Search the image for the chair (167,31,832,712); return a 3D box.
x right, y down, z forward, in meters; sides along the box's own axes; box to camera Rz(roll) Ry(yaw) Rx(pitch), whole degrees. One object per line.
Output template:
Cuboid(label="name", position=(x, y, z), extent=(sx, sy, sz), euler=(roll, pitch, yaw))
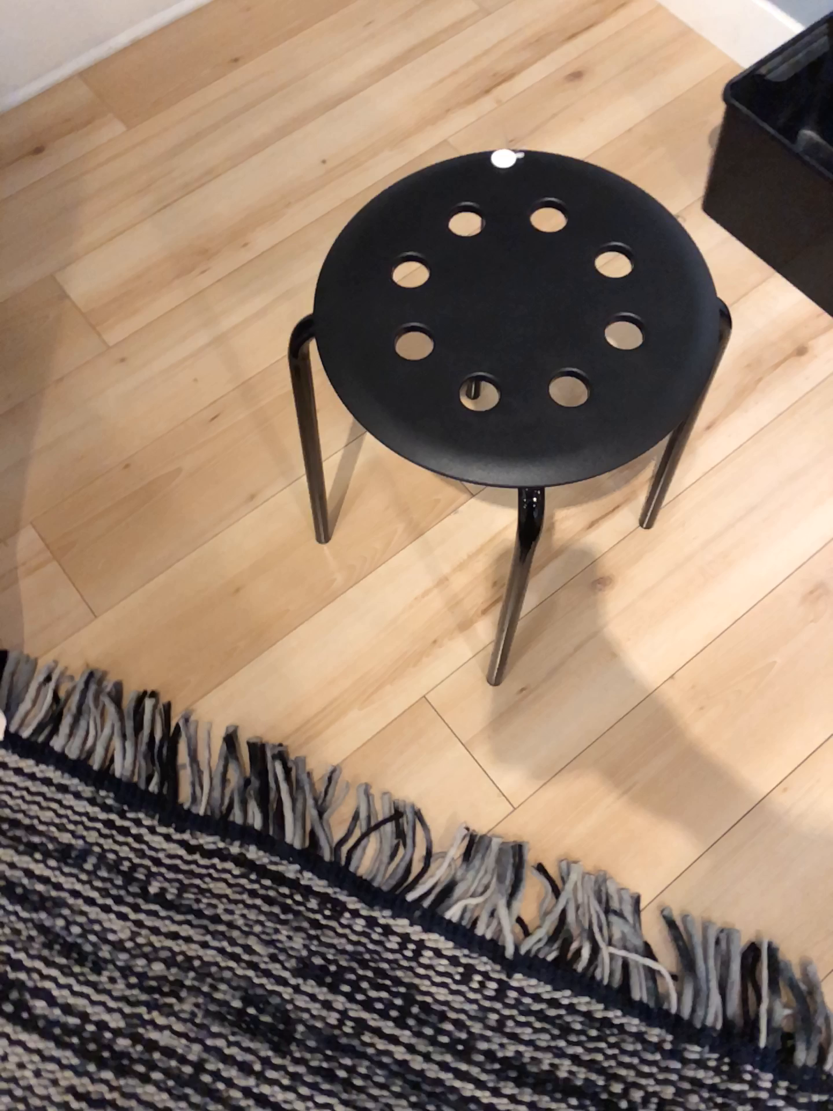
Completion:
Cuboid(label="chair", position=(0.071, -0.151, 0.909), extent=(0.380, 0.400, 0.370), euler=(42, 75, 16))
